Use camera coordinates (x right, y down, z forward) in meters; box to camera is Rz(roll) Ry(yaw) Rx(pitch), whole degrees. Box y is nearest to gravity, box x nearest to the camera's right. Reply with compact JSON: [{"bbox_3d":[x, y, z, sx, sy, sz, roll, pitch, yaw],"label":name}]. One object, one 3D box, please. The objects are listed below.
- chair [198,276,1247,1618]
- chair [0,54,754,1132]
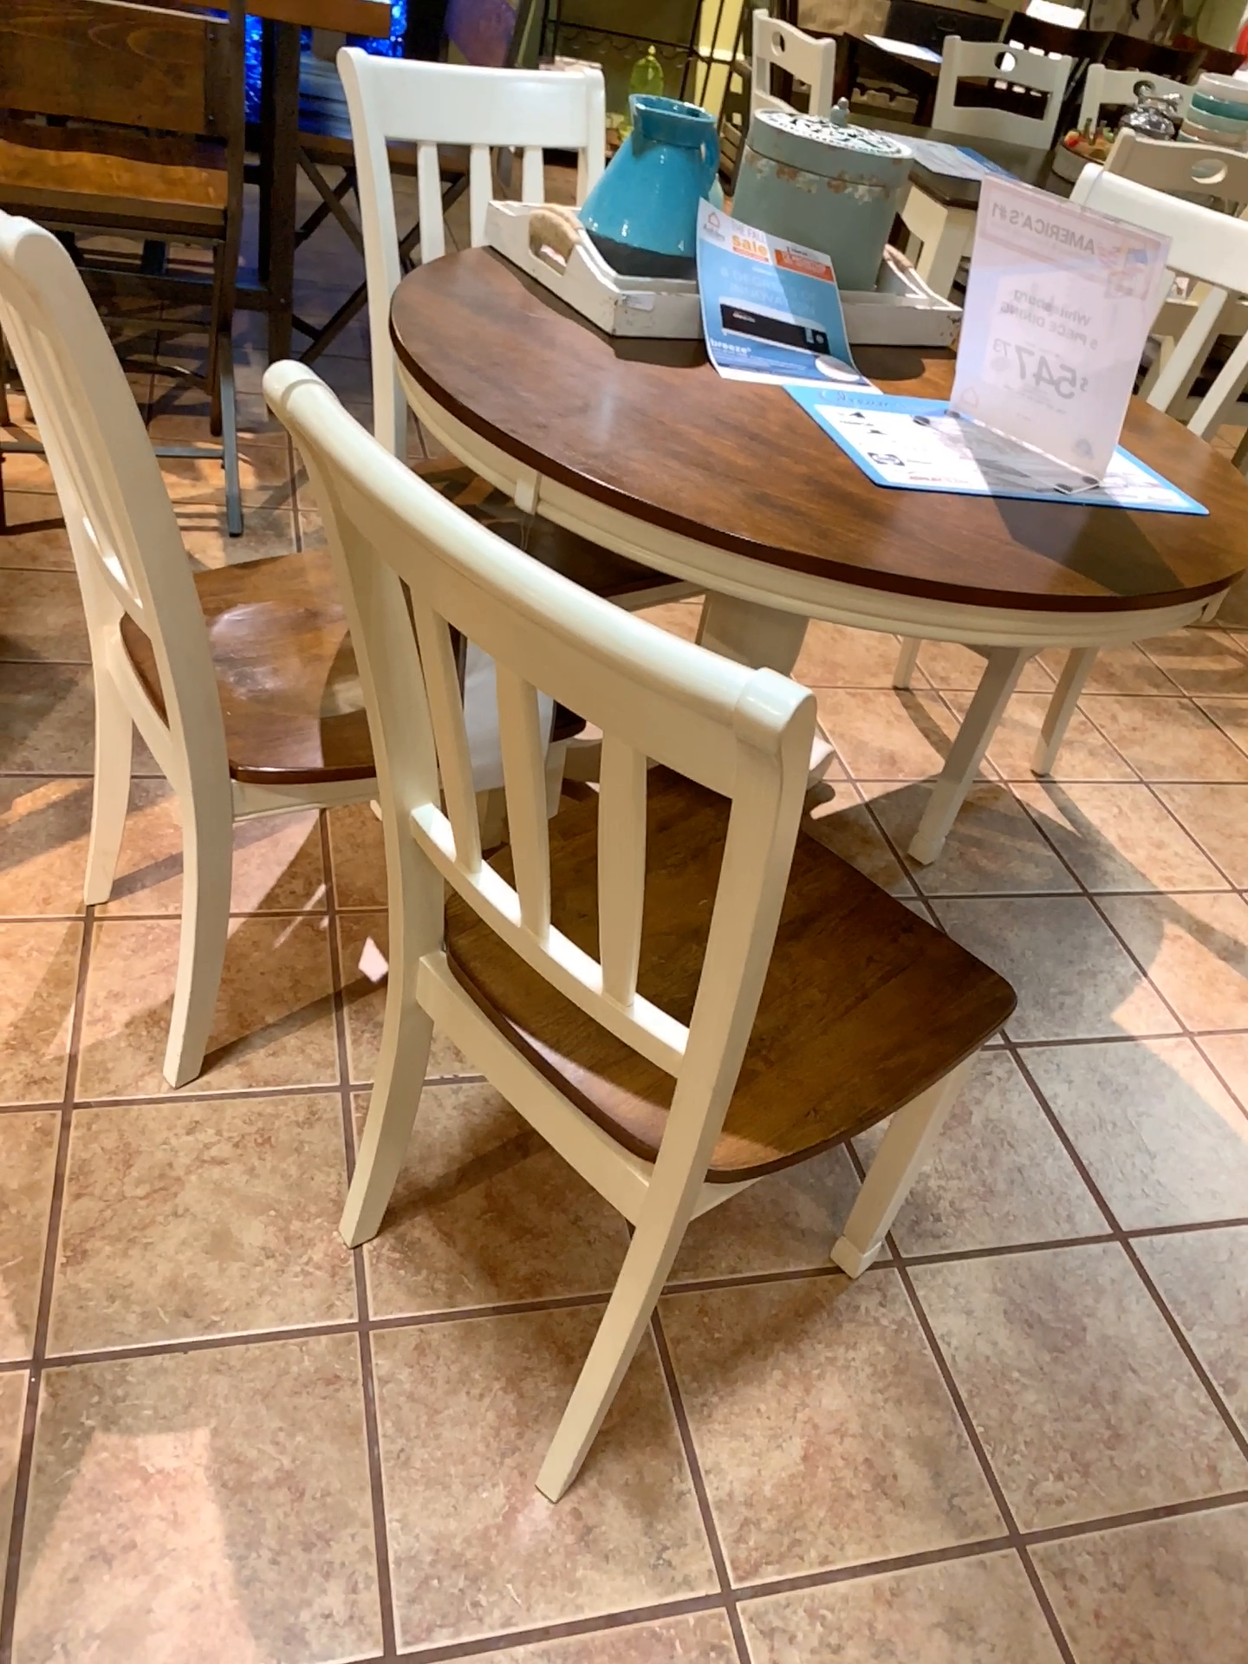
[{"bbox_3d":[0.052,0.075,1.110,0.634,0.891,0.491,-23,51,-38],"label":"chair"},{"bbox_3d":[-0.359,-0.246,1.394,0.633,0.900,0.492,-15,46,-32],"label":"chair"}]
